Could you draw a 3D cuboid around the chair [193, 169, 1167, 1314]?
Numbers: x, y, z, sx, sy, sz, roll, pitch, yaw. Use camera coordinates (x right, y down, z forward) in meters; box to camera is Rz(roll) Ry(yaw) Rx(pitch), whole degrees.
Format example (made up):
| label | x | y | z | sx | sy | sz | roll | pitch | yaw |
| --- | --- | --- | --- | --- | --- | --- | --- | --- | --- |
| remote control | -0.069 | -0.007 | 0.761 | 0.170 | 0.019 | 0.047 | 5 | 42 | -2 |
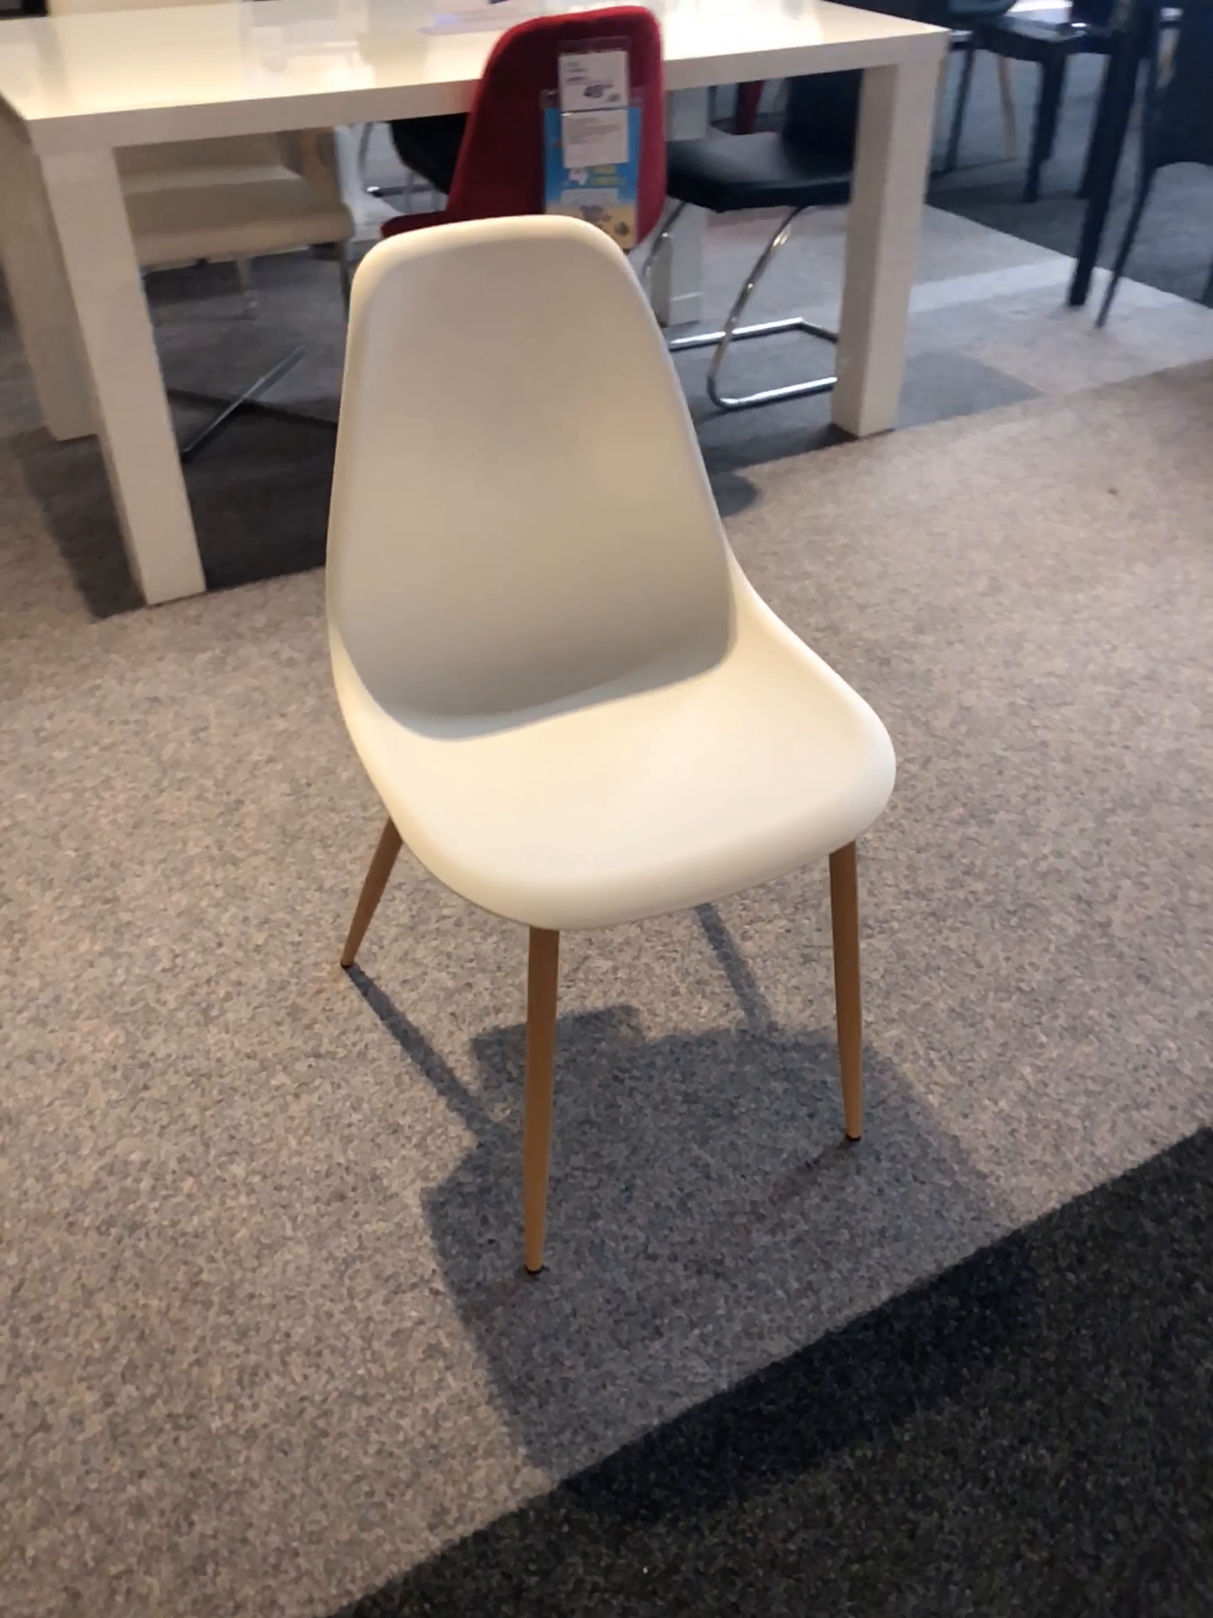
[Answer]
| label | x | y | z | sx | sy | sz | roll | pitch | yaw |
| --- | --- | --- | --- | --- | --- | --- | --- | --- | --- |
| chair | 0.015 | -0.089 | 1.330 | 0.572 | 0.845 | 0.602 | -16 | 41 | -20 |
